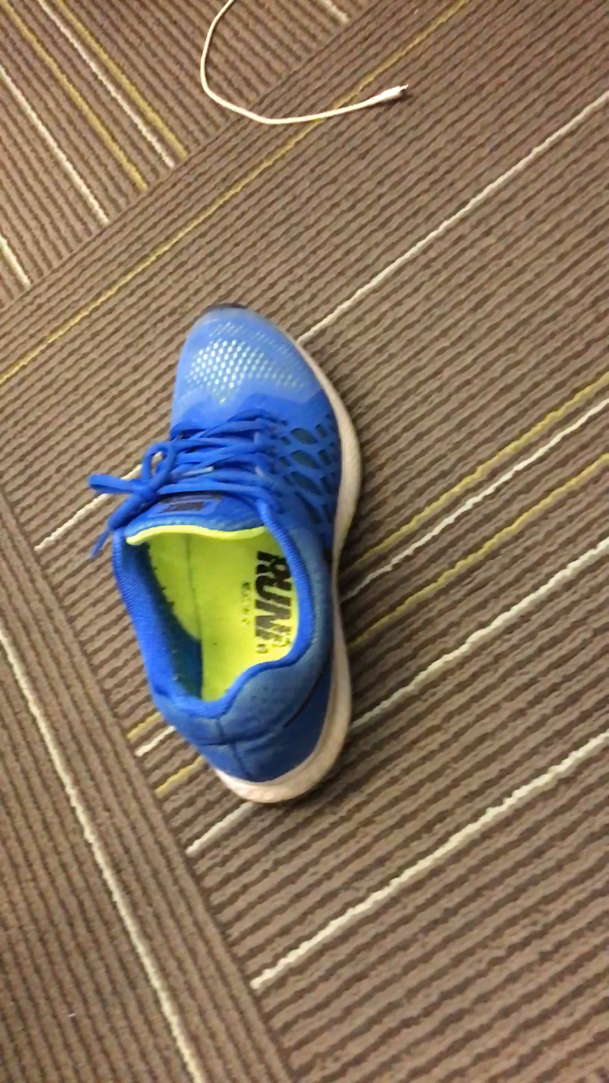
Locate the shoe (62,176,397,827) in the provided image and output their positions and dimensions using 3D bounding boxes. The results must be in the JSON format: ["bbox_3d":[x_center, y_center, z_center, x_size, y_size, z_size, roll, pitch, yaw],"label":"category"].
[{"bbox_3d":[-0.035,-0.013,0.497,0.110,0.150,0.310,-10,67,18],"label":"shoe"}]
